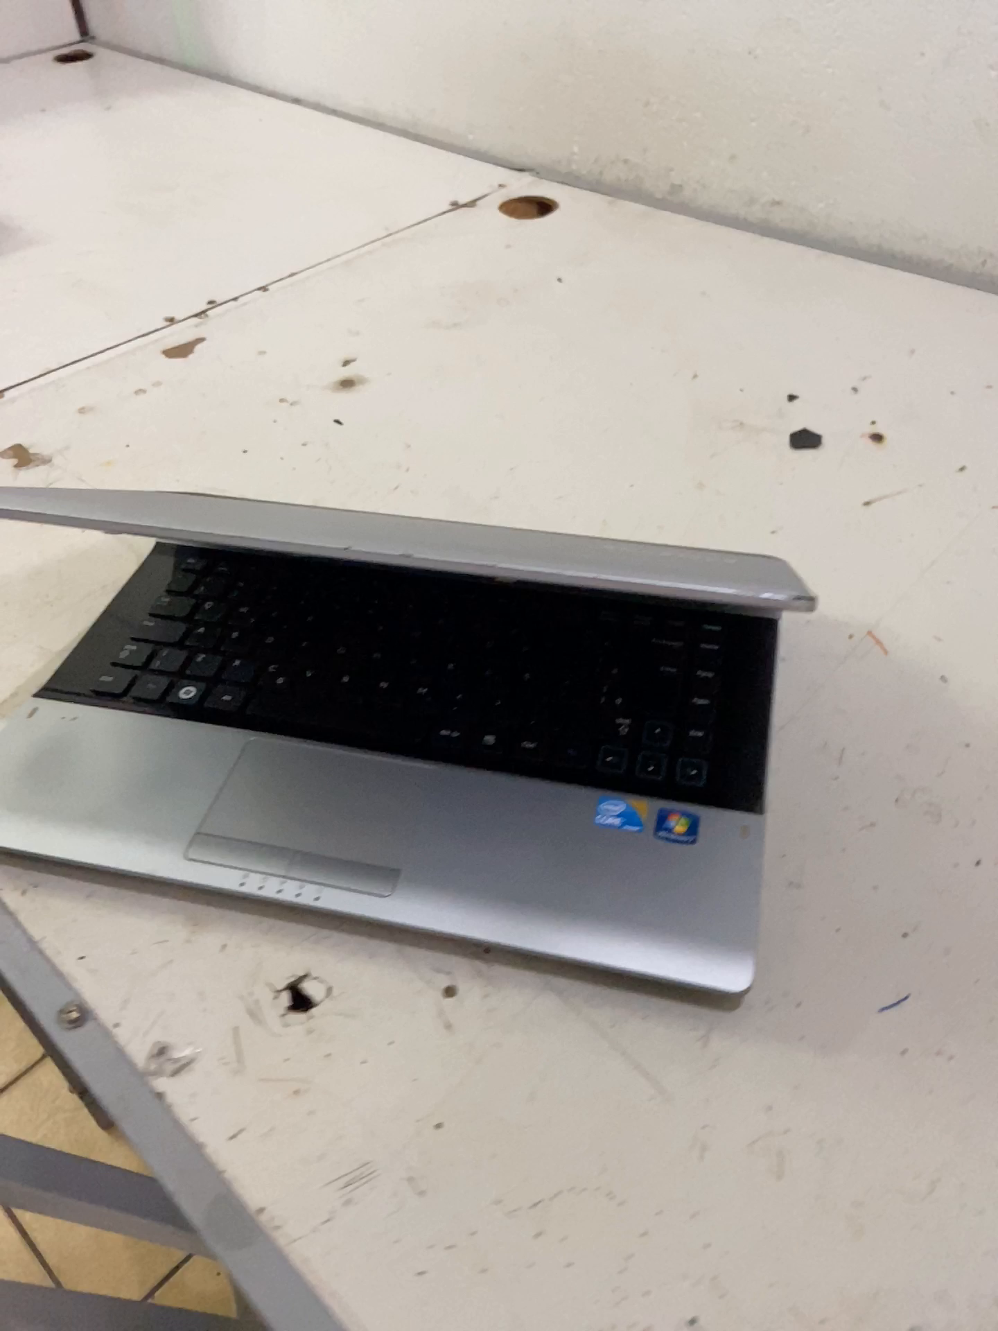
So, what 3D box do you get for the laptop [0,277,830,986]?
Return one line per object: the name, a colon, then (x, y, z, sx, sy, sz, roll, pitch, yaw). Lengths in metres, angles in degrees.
laptop: (-0.051, -0.037, 0.428, 0.336, 0.133, 0.233, 8, 45, 11)
